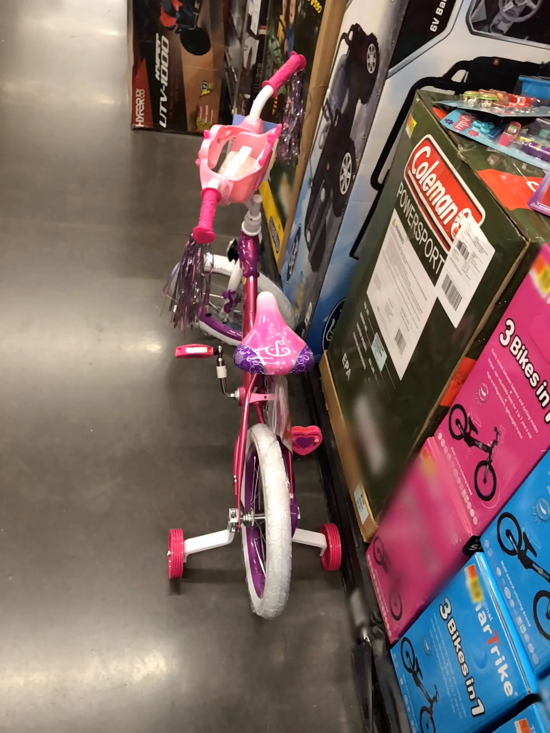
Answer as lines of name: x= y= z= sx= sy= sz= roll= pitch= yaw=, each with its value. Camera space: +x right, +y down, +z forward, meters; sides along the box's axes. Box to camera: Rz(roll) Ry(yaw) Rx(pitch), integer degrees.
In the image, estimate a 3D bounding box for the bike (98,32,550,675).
bike: x=-0.063 y=-0.062 z=1.264 sx=0.477 sy=0.854 sz=0.953 roll=-6 pitch=46 yaw=-20
